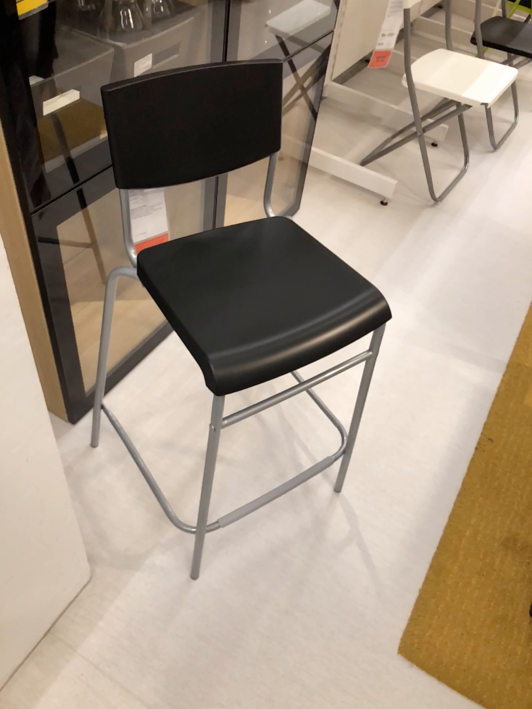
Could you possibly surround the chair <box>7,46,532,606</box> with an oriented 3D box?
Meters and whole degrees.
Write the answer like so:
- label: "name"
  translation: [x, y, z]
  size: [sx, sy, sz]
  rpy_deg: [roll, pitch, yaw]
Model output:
- label: "chair"
  translation: [-0.038, -0.031, 1.062]
  size: [0.541, 0.765, 0.482]
  rpy_deg: [-22, 56, -26]
